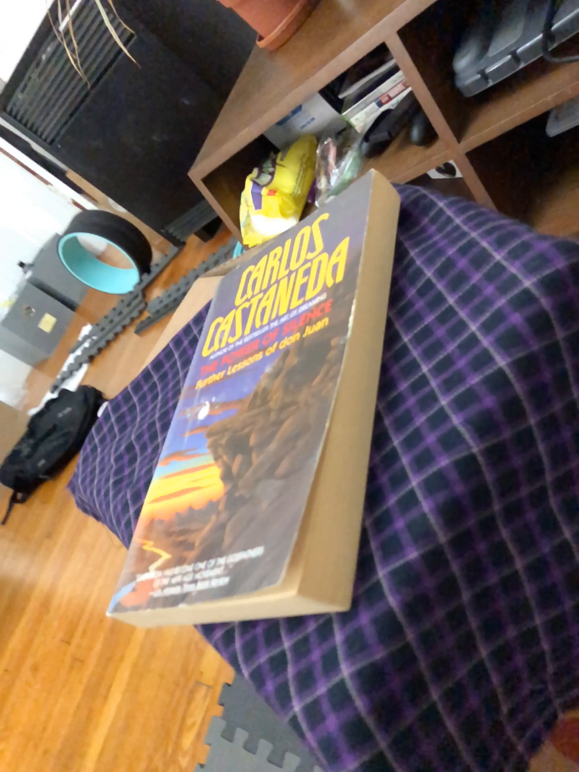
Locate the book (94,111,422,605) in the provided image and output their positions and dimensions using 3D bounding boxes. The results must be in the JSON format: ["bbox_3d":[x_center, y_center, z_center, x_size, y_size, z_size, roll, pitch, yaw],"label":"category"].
[{"bbox_3d":[-0.013,-0.013,0.303,0.150,0.020,0.221,-23,43,44],"label":"book"}]
